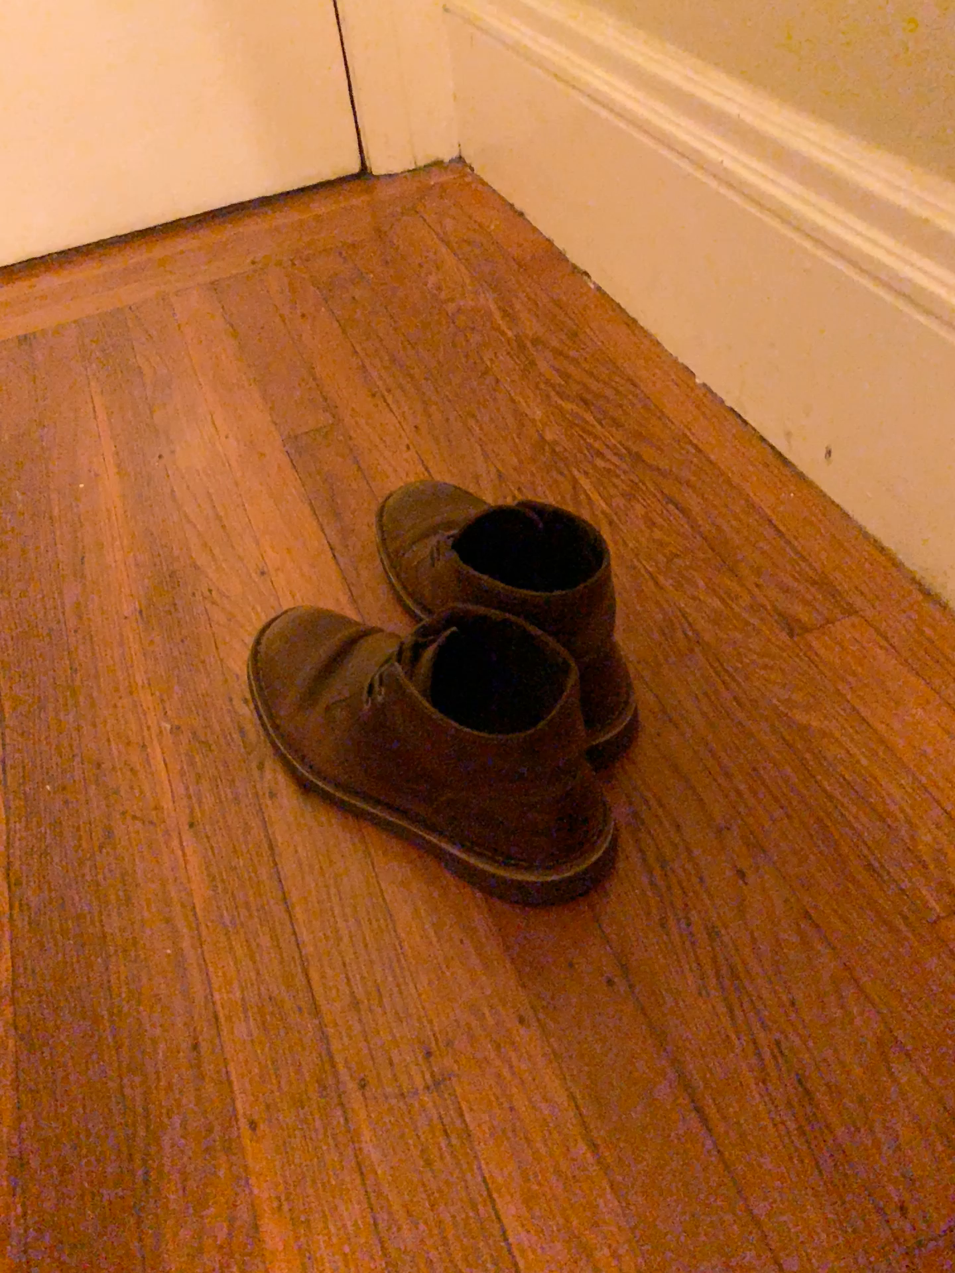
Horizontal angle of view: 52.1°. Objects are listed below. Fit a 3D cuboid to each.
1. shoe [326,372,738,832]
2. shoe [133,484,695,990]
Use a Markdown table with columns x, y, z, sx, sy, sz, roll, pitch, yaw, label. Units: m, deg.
| x | y | z | sx | sy | sz | roll | pitch | yaw | label |
| --- | --- | --- | --- | --- | --- | --- | --- | --- | --- |
| 0.023 | -0.038 | 0.641 | 0.120 | 0.119 | 0.292 | -25 | 48 | -15 | shoe |
| -0.041 | 0.042 | 0.562 | 0.301 | 0.119 | 0.120 | 29 | 57 | 30 | shoe |
